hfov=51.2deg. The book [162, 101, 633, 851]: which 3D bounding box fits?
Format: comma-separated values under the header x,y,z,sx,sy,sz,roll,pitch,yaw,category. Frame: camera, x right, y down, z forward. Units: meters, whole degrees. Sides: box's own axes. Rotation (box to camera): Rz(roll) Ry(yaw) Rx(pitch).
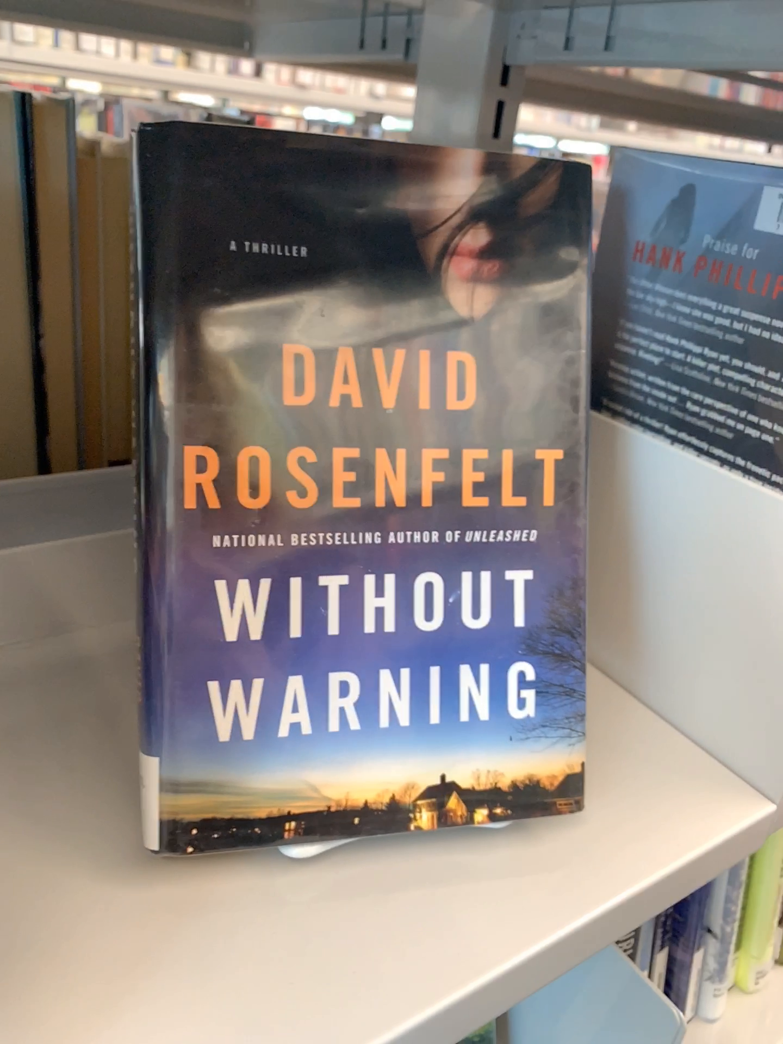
x,y,z,sx,sy,sz,roll,pitch,yaw,category
0.001,-0.012,0.288,0.157,0.230,0.035,0,5,-15,book
